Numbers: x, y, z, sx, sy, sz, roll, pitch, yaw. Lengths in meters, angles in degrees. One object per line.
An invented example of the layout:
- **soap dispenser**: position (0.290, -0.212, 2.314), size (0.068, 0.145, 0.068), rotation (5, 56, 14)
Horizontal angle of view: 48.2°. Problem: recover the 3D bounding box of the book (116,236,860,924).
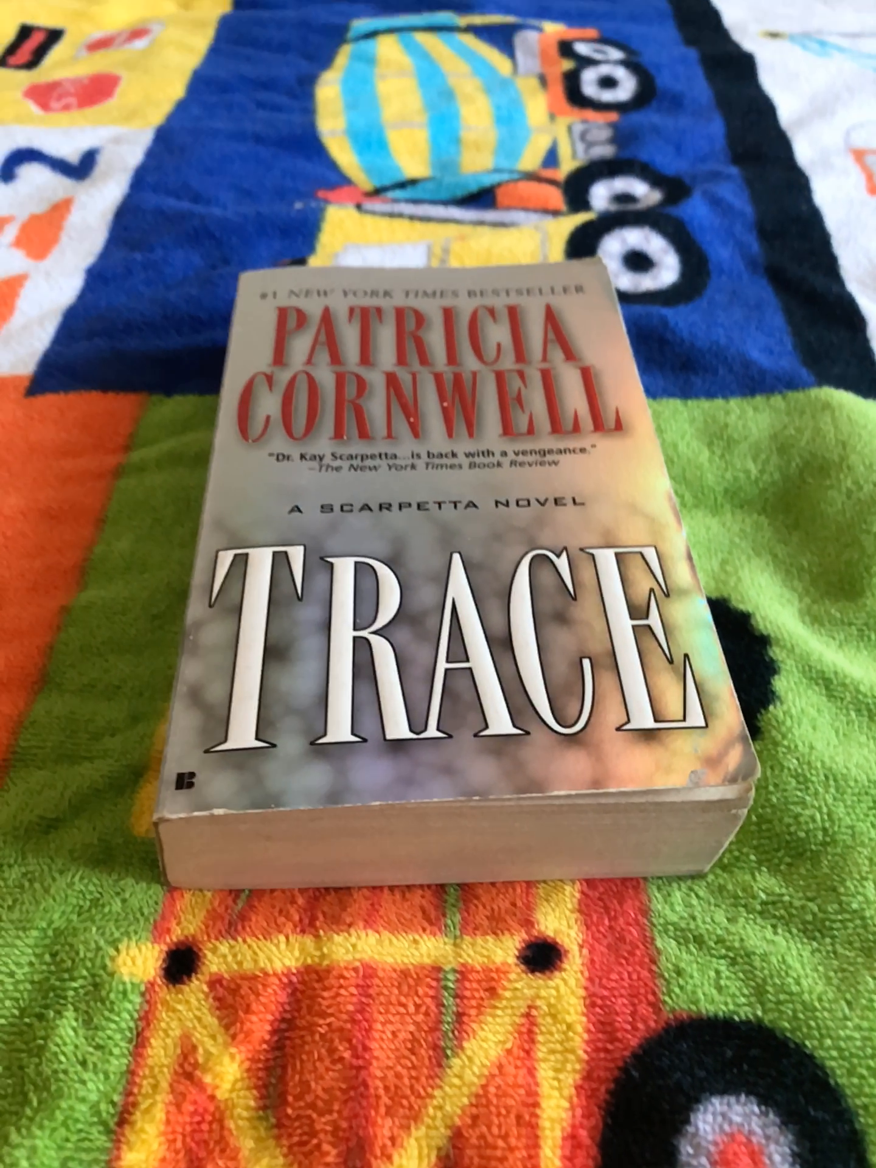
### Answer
- **book**: position (0.006, -0.017, 0.234), size (0.120, 0.040, 0.181), rotation (-2, 48, 0)
